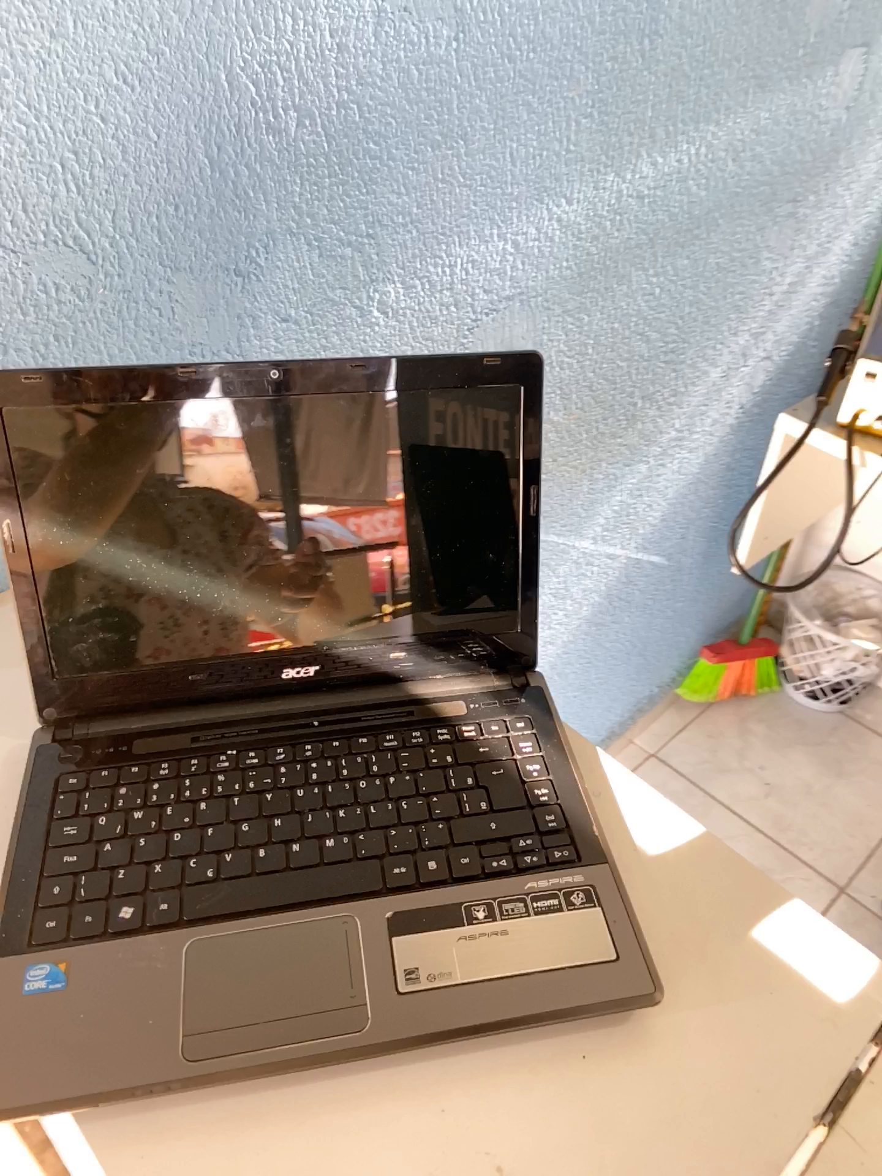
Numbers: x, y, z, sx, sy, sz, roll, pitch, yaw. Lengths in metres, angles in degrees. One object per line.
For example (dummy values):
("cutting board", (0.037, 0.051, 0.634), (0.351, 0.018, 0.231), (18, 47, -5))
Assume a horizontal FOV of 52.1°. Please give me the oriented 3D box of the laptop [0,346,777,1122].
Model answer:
("laptop", (-0.073, 0.044, 0.493), (0.337, 0.207, 0.320), (-5, 40, -10))
